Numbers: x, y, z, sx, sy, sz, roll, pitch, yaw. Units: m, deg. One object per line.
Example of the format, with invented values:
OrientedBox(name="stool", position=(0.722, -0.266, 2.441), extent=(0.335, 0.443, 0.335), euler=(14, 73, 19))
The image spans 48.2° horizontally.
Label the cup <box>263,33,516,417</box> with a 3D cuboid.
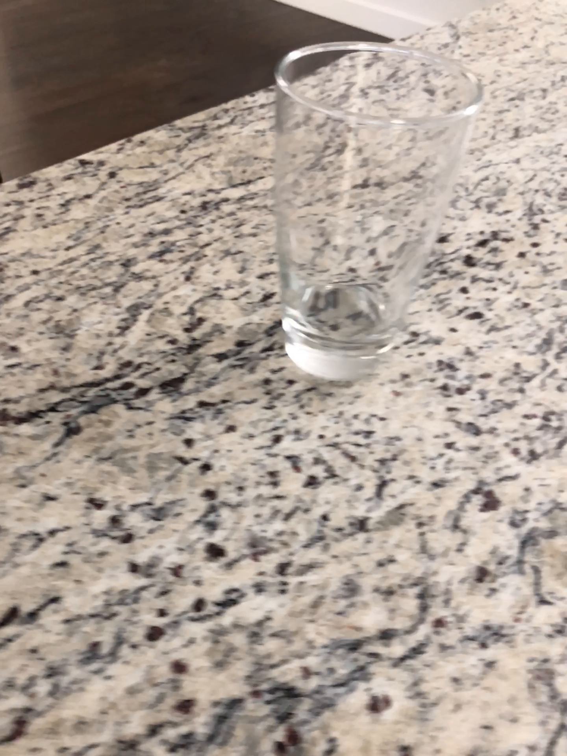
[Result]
OrientedBox(name="cup", position=(0.039, -0.067, 0.294), extent=(0.080, 0.139, 0.091), euler=(7, 44, 2))
